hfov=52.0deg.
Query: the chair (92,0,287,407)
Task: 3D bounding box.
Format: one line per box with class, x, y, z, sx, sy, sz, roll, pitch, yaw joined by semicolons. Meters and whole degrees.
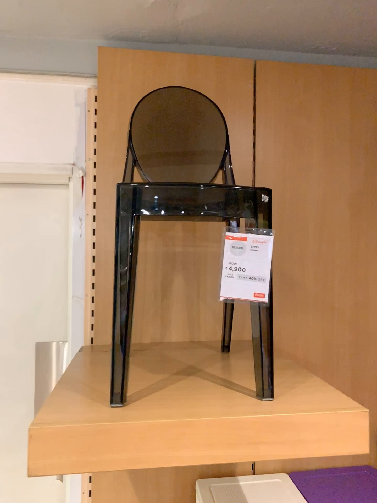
chair;-0.027;-0.117;1.027;0.400;0.850;0.470;0;-2;-9
